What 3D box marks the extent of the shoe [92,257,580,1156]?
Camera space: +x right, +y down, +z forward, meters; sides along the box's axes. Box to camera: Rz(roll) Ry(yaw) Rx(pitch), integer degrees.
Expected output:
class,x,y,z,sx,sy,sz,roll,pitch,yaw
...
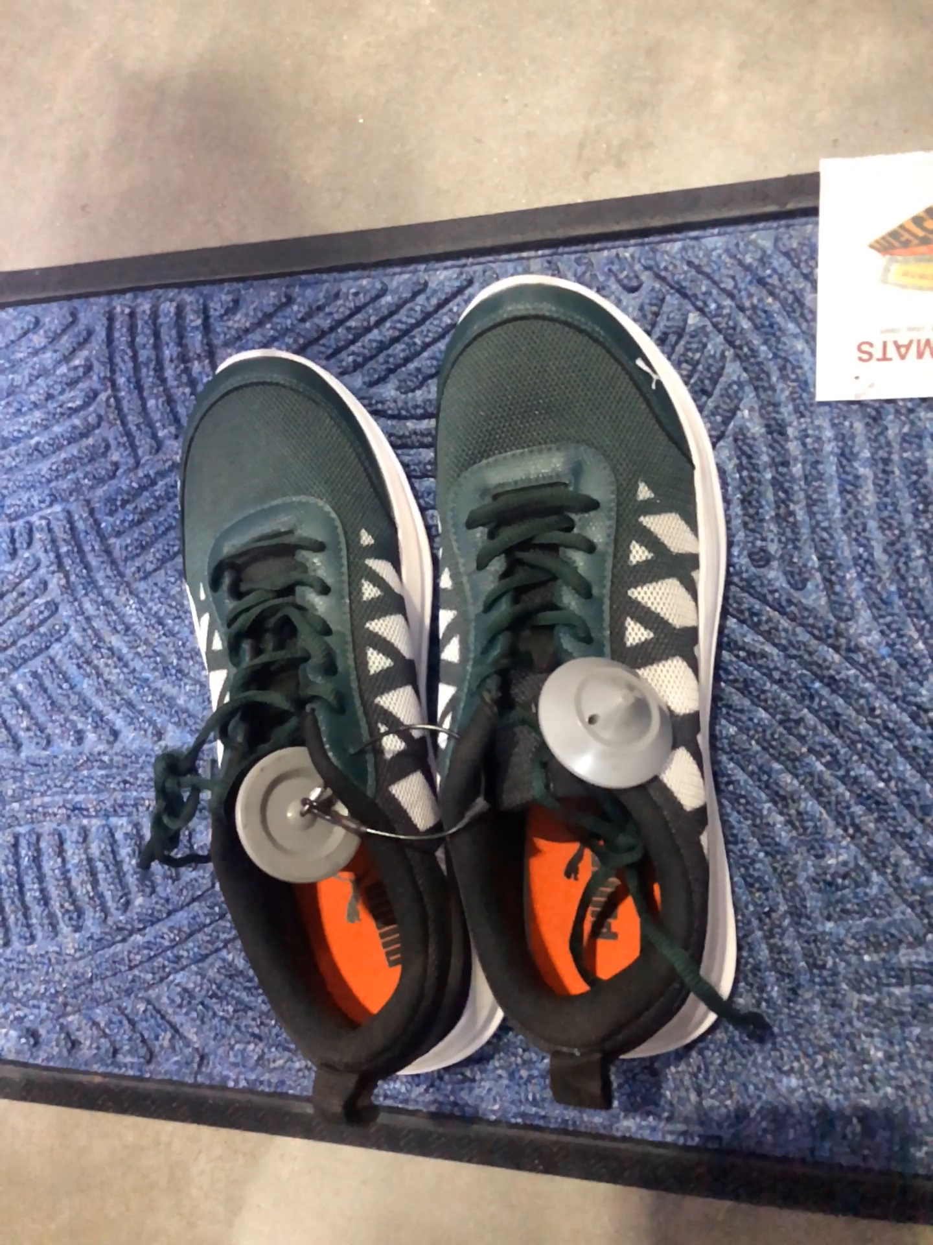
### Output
class,x,y,z,sx,sy,sz,roll,pitch,yaw
shoe,-0.054,0.029,0.405,0.110,0.060,0.310,-17,81,14

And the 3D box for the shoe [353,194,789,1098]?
class,x,y,z,sx,sy,sz,roll,pitch,yaw
shoe,0.036,0.009,0.373,0.120,0.060,0.290,-7,83,16
